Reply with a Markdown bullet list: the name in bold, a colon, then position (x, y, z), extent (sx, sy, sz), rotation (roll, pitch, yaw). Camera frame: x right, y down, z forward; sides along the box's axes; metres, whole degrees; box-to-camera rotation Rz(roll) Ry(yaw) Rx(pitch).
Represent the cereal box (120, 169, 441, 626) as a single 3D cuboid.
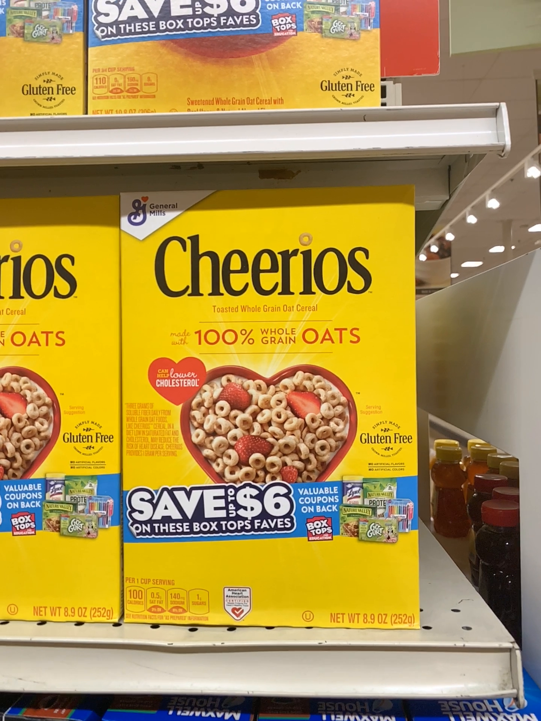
- **cereal box**: position (0.006, 0.023, 0.359), extent (0.190, 0.270, 0.050), rotation (-1, 0, 4)
